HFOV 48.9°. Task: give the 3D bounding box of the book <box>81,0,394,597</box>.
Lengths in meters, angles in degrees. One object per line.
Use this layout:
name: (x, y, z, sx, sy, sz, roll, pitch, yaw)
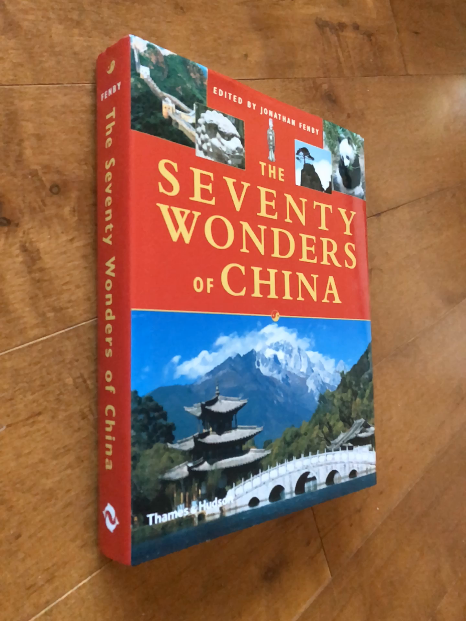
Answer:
book: (0.016, -0.008, 0.339, 0.221, 0.050, 0.290, 2, 84, -41)
